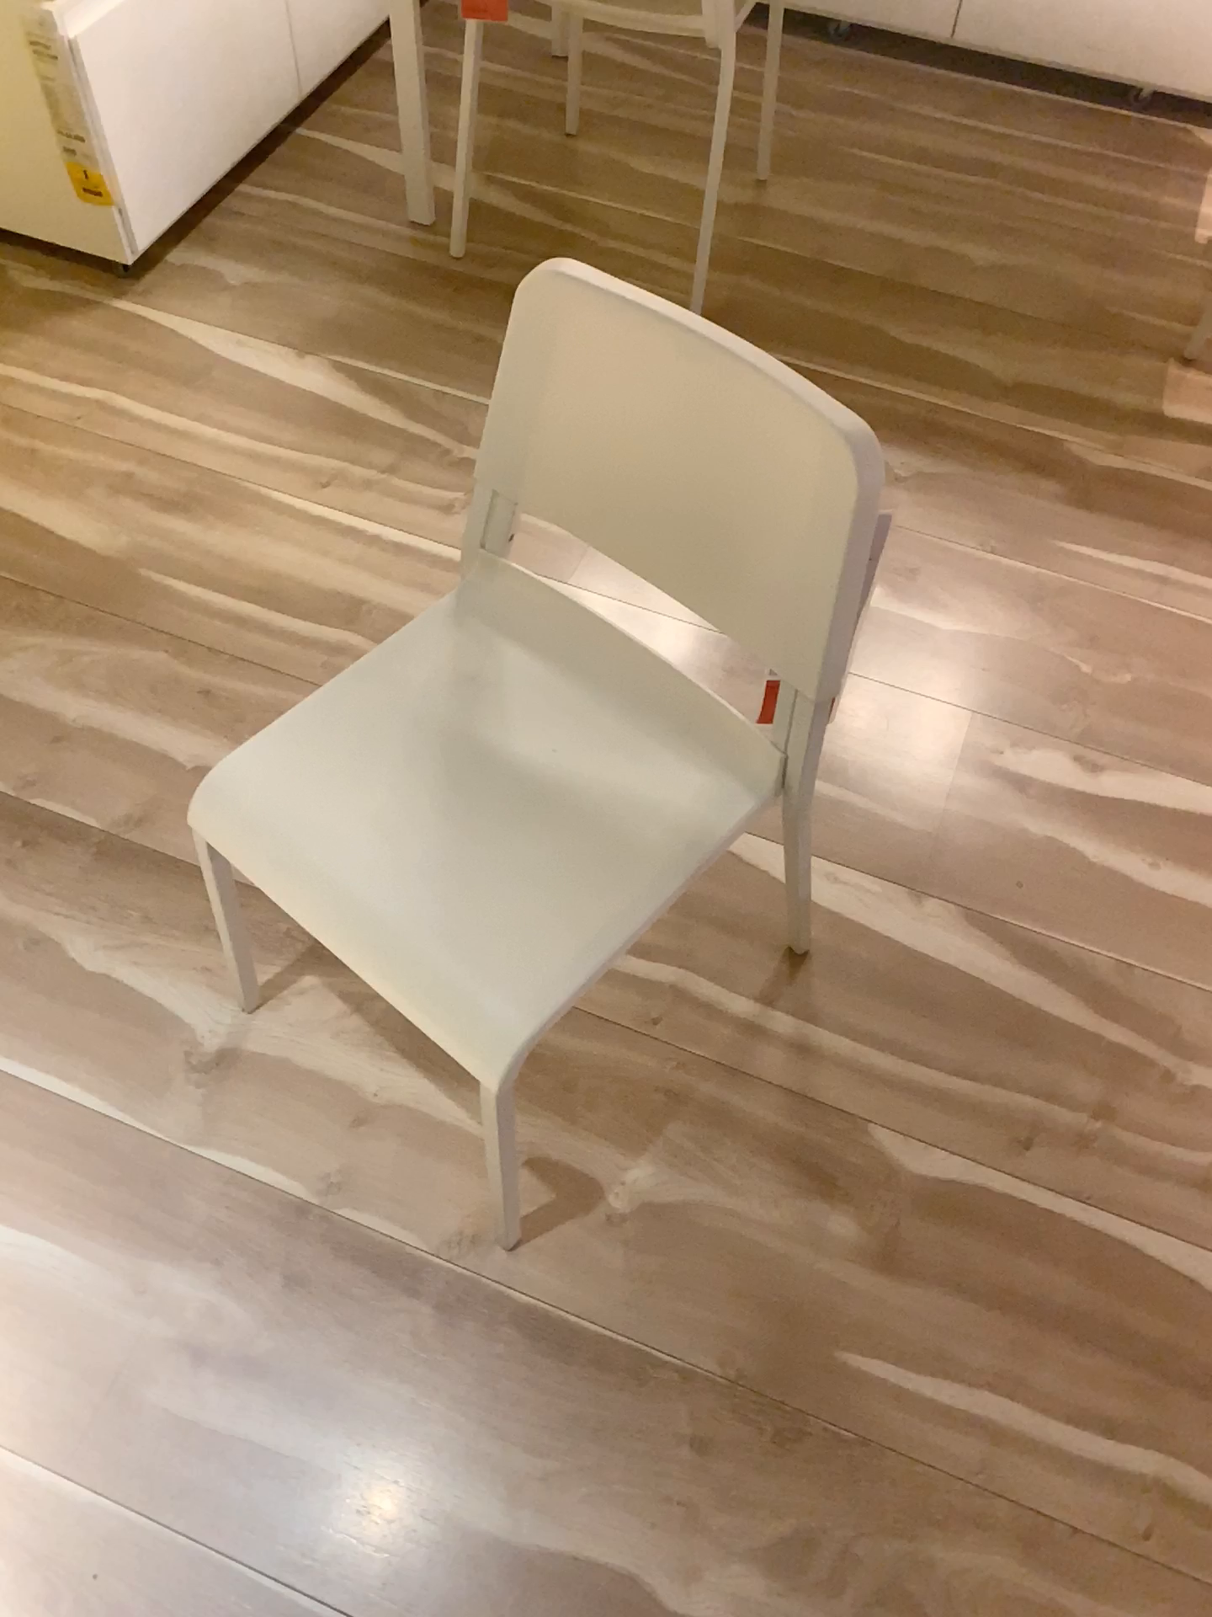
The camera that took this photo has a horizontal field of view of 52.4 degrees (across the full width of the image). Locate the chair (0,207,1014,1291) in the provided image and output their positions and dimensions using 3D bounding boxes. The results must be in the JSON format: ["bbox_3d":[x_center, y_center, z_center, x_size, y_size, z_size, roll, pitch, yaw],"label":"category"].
[{"bbox_3d":[-0.087,-0.019,1.172,0.521,0.708,0.551,36,62,19],"label":"chair"}]
